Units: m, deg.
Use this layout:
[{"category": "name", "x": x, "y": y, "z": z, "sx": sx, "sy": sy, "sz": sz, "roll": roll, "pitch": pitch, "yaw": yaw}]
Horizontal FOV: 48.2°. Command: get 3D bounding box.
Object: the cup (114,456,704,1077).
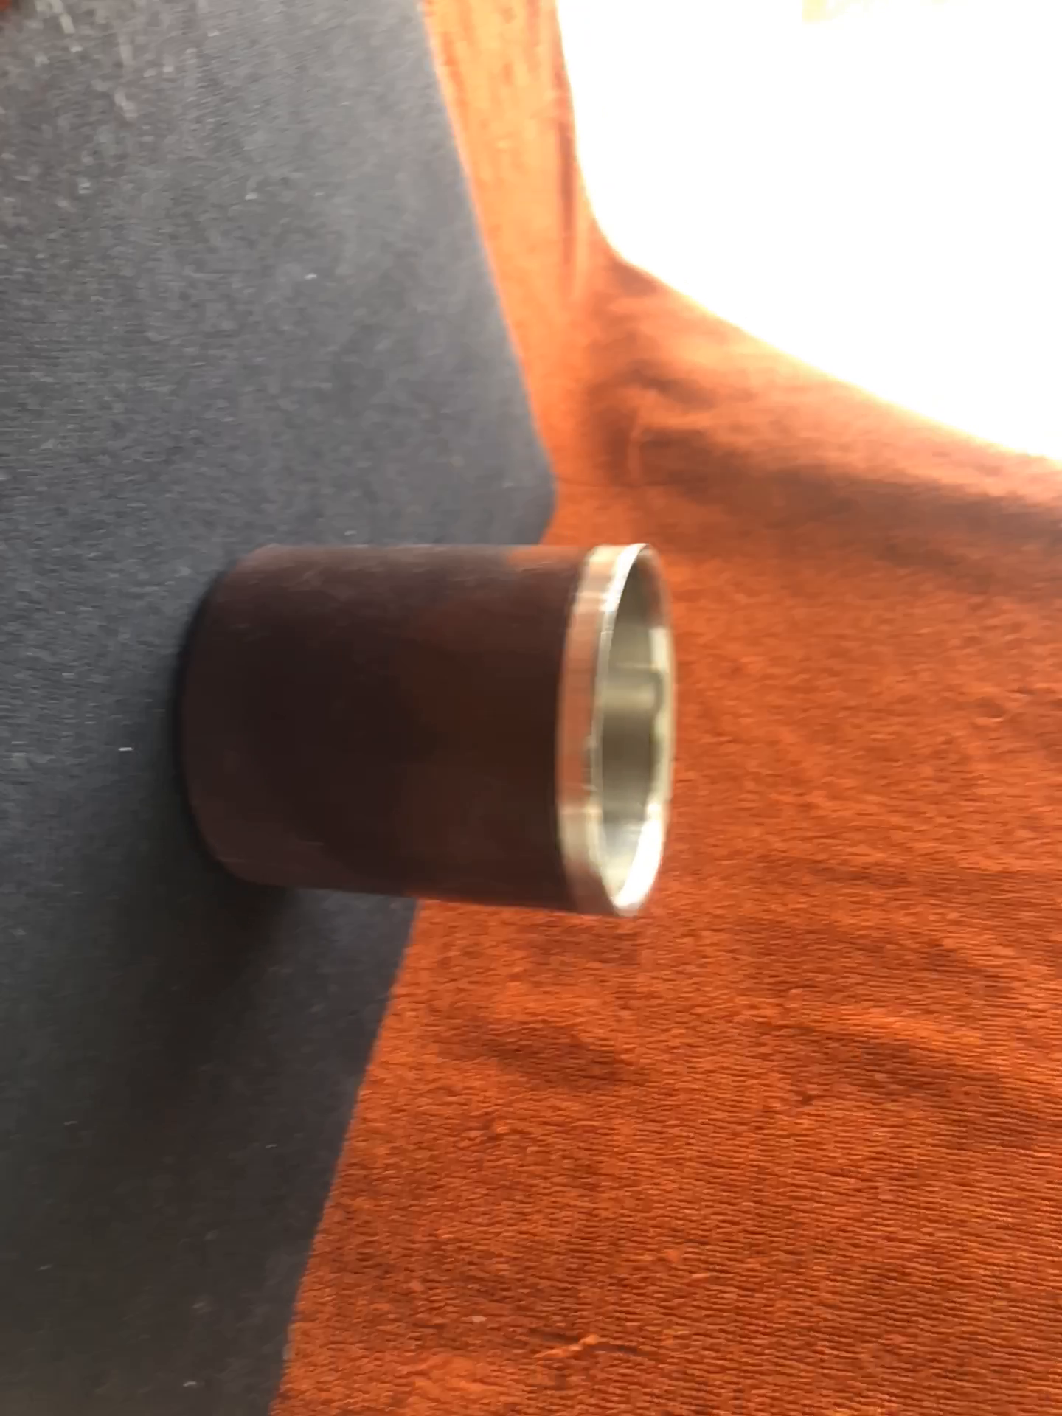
[{"category": "cup", "x": -0.015, "y": 0.013, "z": 0.279, "sx": 0.110, "sy": 0.090, "sz": 0.090, "roll": 75, "pitch": 24, "yaw": -45}]
